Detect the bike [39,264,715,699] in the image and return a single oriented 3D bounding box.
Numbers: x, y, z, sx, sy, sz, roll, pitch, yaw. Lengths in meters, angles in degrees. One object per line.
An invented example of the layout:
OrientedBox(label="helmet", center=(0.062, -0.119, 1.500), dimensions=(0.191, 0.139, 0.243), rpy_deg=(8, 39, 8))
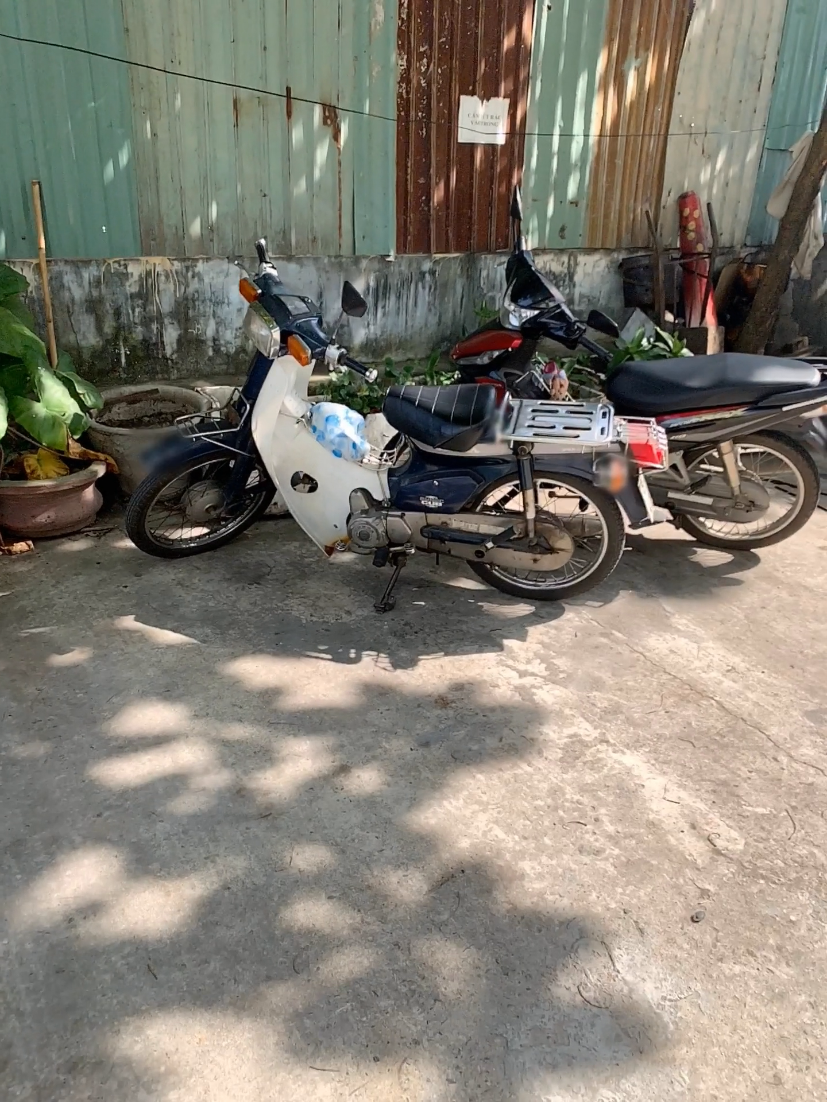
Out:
OrientedBox(label="bike", center=(-0.105, -0.217, 2.353), dimensions=(1.474, 1.024, 0.656), rpy_deg=(1, 25, 2))
